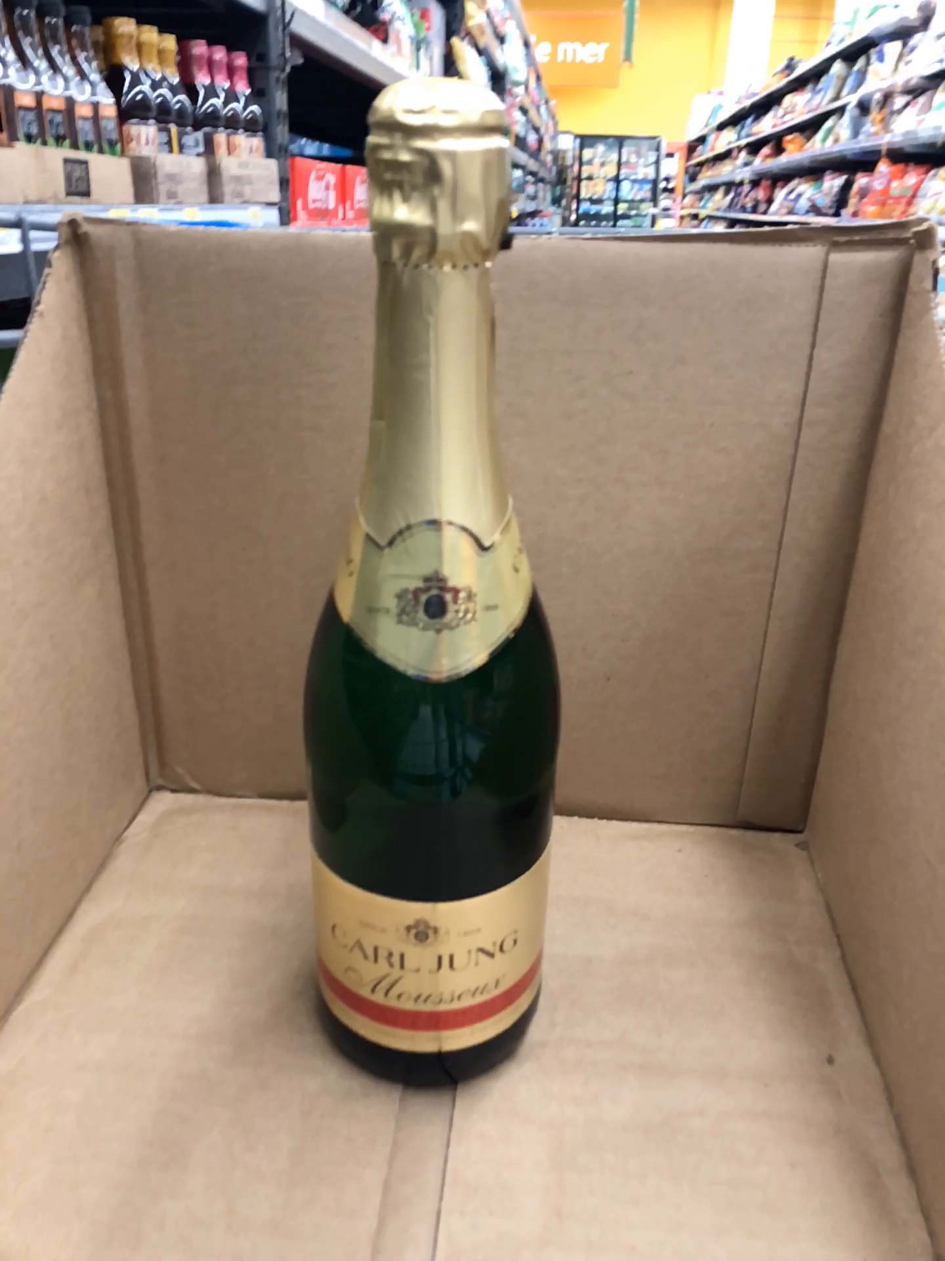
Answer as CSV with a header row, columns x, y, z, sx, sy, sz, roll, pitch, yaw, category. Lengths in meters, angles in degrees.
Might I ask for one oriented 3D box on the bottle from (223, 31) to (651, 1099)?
x,y,z,sx,sy,sz,roll,pitch,yaw,category
-0.009,-0.006,0.307,0.090,0.288,0.081,3,22,3,bottle
